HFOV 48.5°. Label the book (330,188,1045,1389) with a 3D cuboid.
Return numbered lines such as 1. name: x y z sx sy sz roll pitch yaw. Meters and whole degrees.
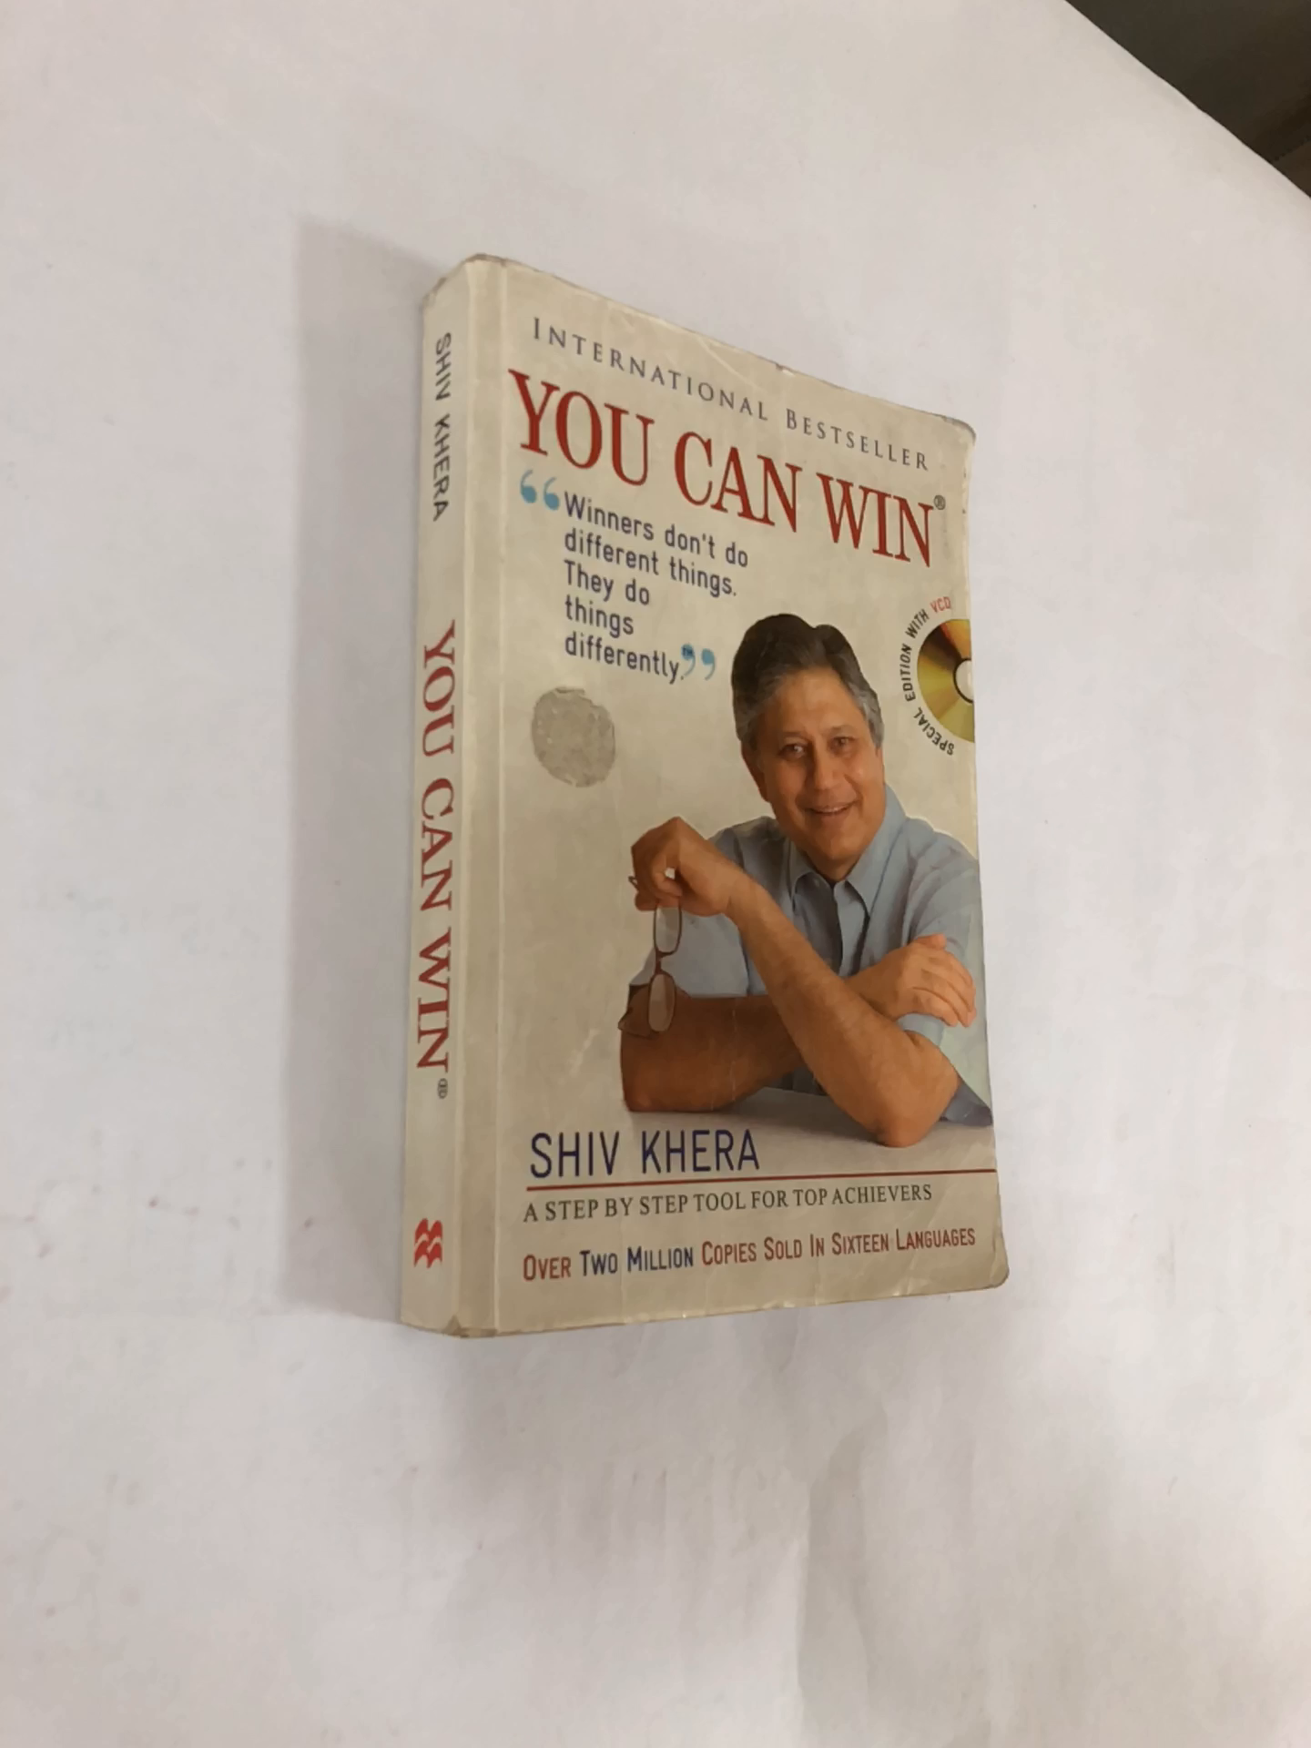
1. book: 0.011 -0.013 0.309 0.151 0.040 0.210 6 78 -36
